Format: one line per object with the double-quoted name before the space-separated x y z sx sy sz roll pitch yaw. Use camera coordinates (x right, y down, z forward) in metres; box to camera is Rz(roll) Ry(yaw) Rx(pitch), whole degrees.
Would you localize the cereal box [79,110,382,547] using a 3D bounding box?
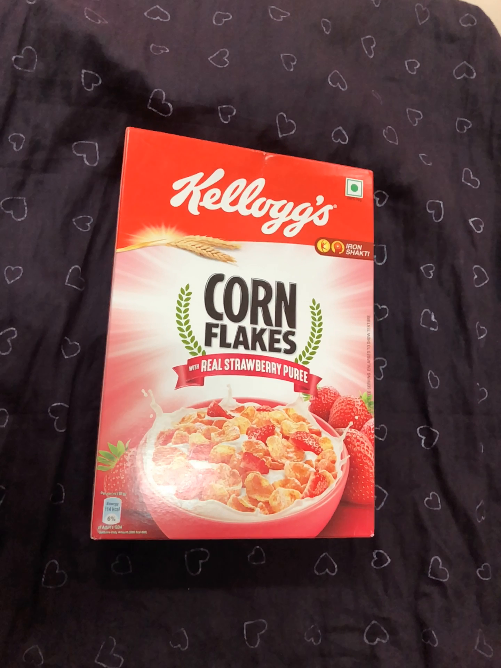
"cereal box" -0.009 0.001 0.395 0.190 0.070 0.270 5 79 -16
